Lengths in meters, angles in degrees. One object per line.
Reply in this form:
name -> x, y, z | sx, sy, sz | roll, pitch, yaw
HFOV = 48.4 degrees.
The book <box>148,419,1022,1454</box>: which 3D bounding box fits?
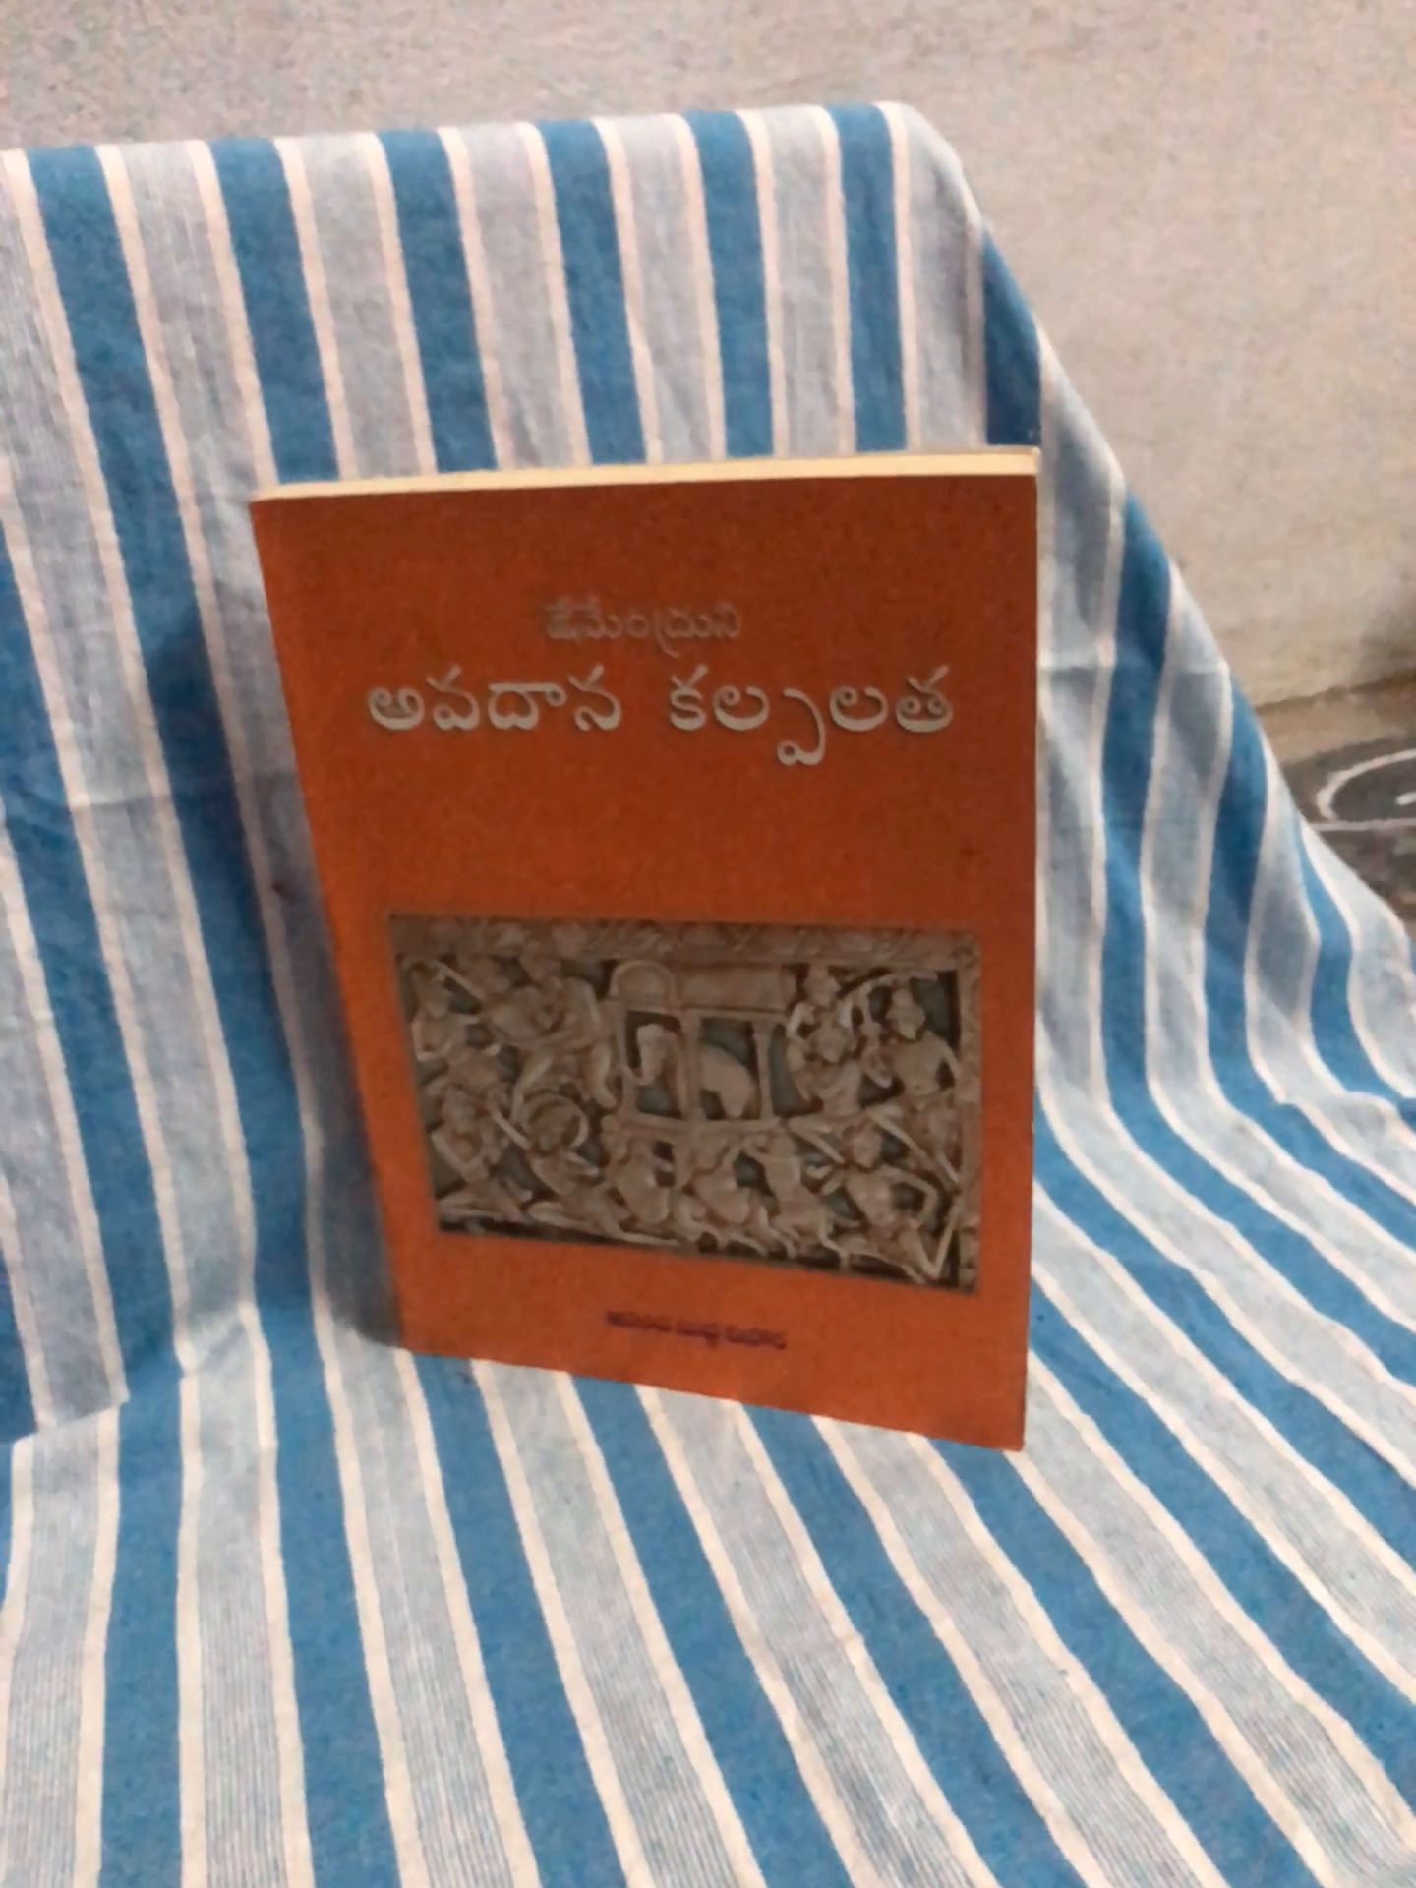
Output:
book -> -0.022, 0.003, 0.366 | 0.180, 0.229, 0.030 | 4, 24, 17
